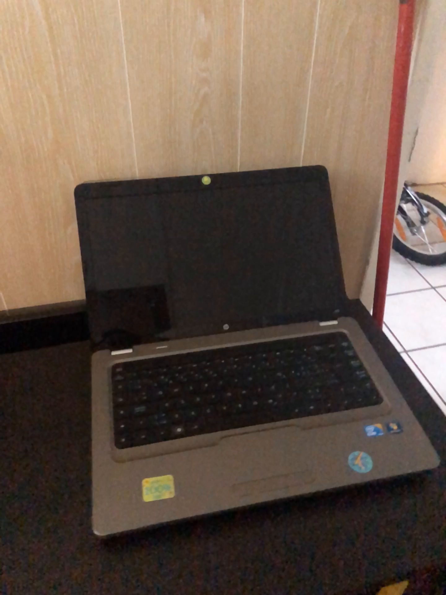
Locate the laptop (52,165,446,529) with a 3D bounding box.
[{"bbox_3d":[0.004,0.009,0.613,0.363,0.154,0.421,-7,40,-10],"label":"laptop"}]
